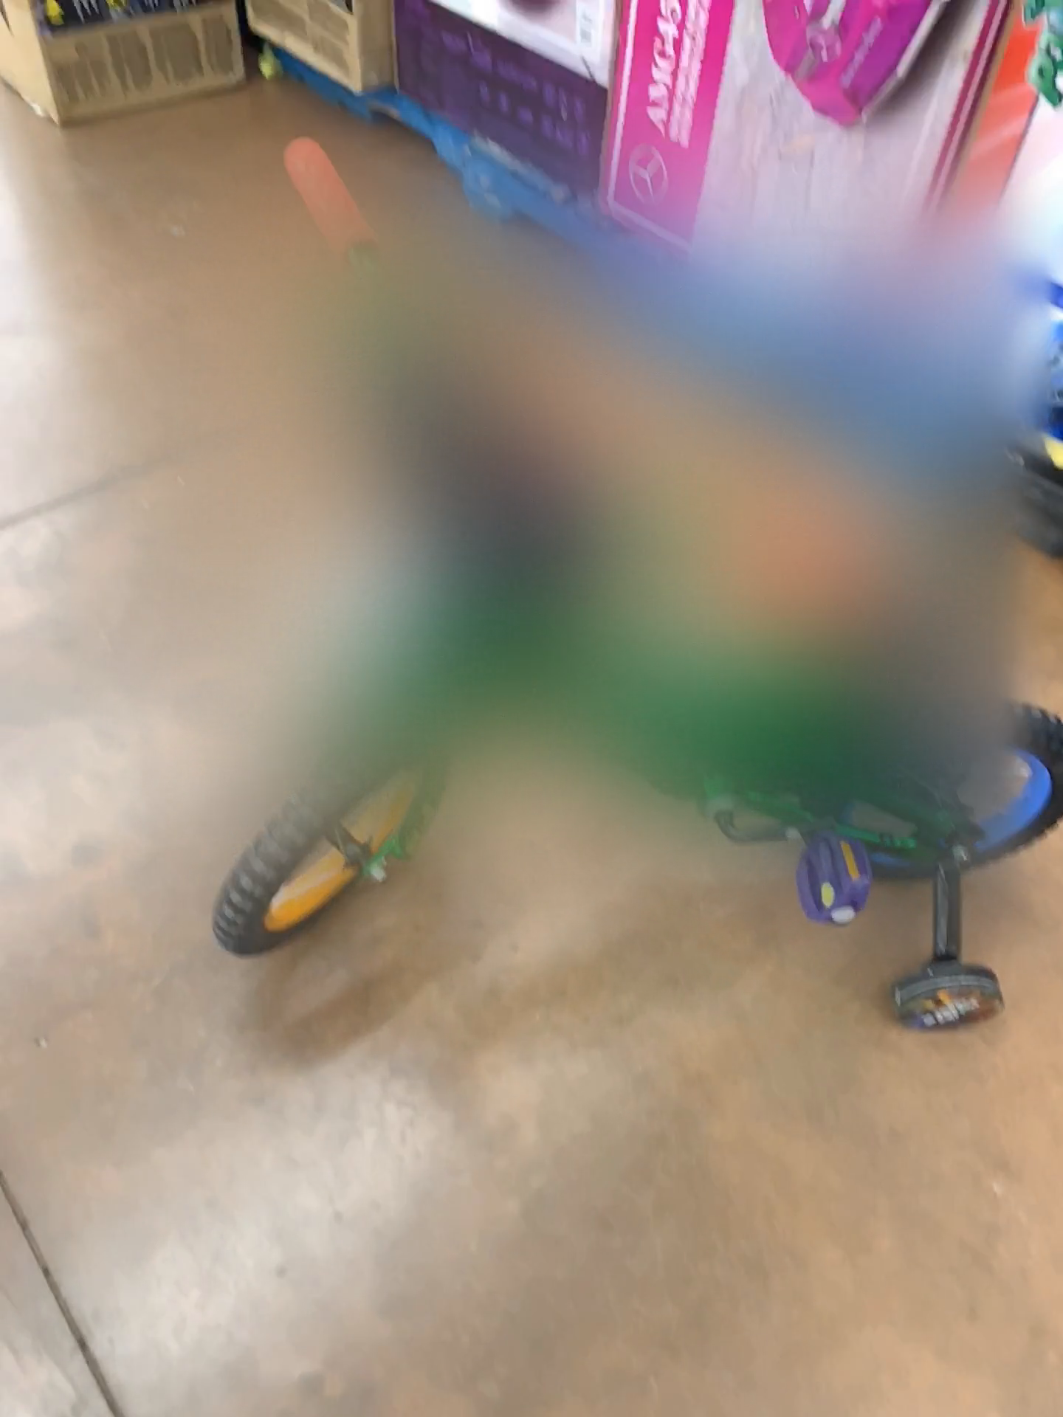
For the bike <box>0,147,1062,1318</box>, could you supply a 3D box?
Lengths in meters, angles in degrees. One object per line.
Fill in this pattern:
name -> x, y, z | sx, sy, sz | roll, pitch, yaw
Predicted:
bike -> 0.158, 0.024, 0.854 | 0.829, 0.678, 0.533 | -4, 49, -9
